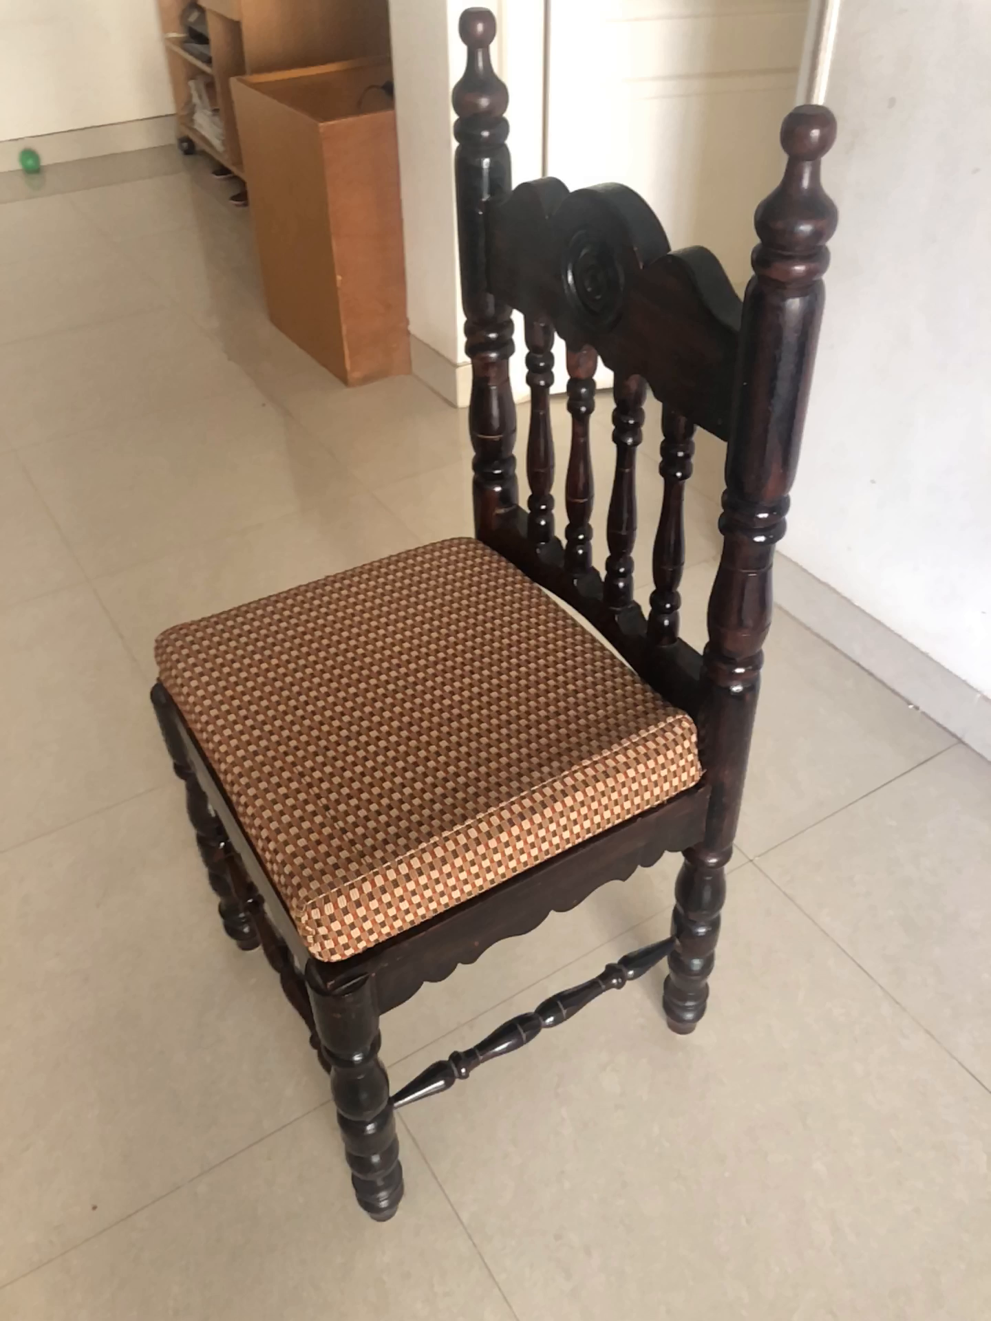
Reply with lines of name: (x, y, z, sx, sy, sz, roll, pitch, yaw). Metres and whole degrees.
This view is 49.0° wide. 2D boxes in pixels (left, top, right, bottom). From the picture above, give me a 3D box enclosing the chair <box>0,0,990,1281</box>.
chair: (-0.017, 0.005, 1.058, 0.561, 1.022, 0.503, -21, 44, -23)
